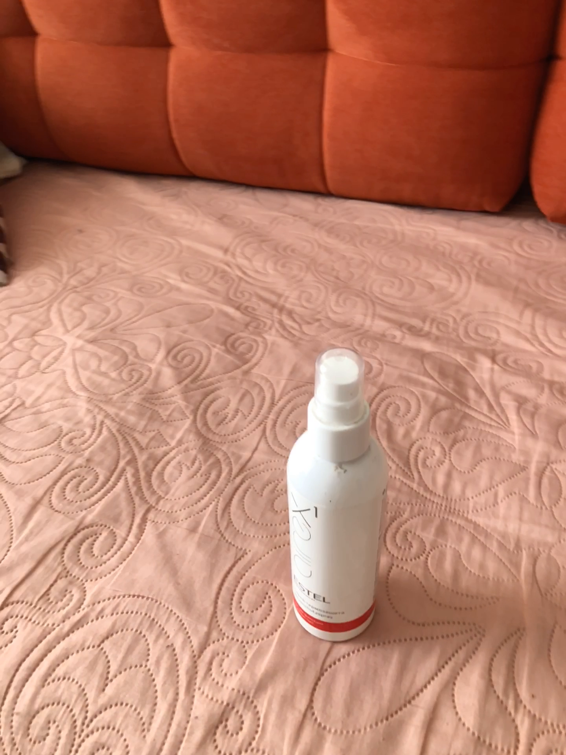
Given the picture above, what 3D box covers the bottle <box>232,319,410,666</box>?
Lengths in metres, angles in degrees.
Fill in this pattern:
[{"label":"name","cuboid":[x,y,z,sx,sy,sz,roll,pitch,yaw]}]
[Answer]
[{"label":"bottle","cuboid":[0.019,0.062,0.300,0.050,0.169,0.050,-2,39,2]}]
